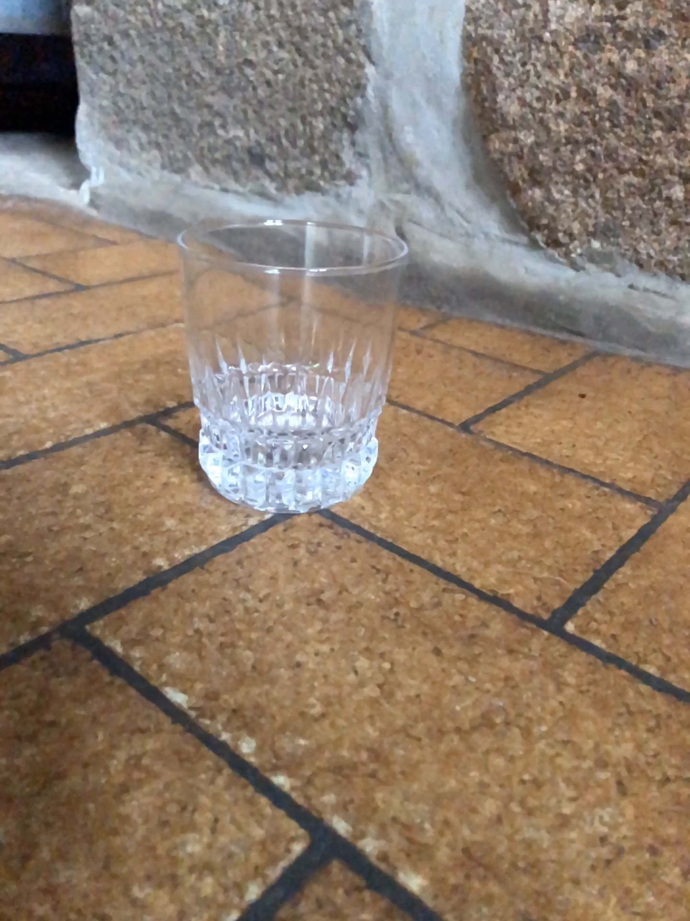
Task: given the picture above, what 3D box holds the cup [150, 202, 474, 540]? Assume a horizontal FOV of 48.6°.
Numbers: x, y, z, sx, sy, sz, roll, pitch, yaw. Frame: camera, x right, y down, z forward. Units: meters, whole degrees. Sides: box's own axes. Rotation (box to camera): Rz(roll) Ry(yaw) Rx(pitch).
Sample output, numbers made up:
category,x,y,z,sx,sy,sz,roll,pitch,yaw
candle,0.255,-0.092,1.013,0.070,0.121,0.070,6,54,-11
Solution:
category,x,y,z,sx,sy,sz,roll,pitch,yaw
cup,-0.016,-0.039,0.278,0.080,0.089,0.080,3,27,-2
